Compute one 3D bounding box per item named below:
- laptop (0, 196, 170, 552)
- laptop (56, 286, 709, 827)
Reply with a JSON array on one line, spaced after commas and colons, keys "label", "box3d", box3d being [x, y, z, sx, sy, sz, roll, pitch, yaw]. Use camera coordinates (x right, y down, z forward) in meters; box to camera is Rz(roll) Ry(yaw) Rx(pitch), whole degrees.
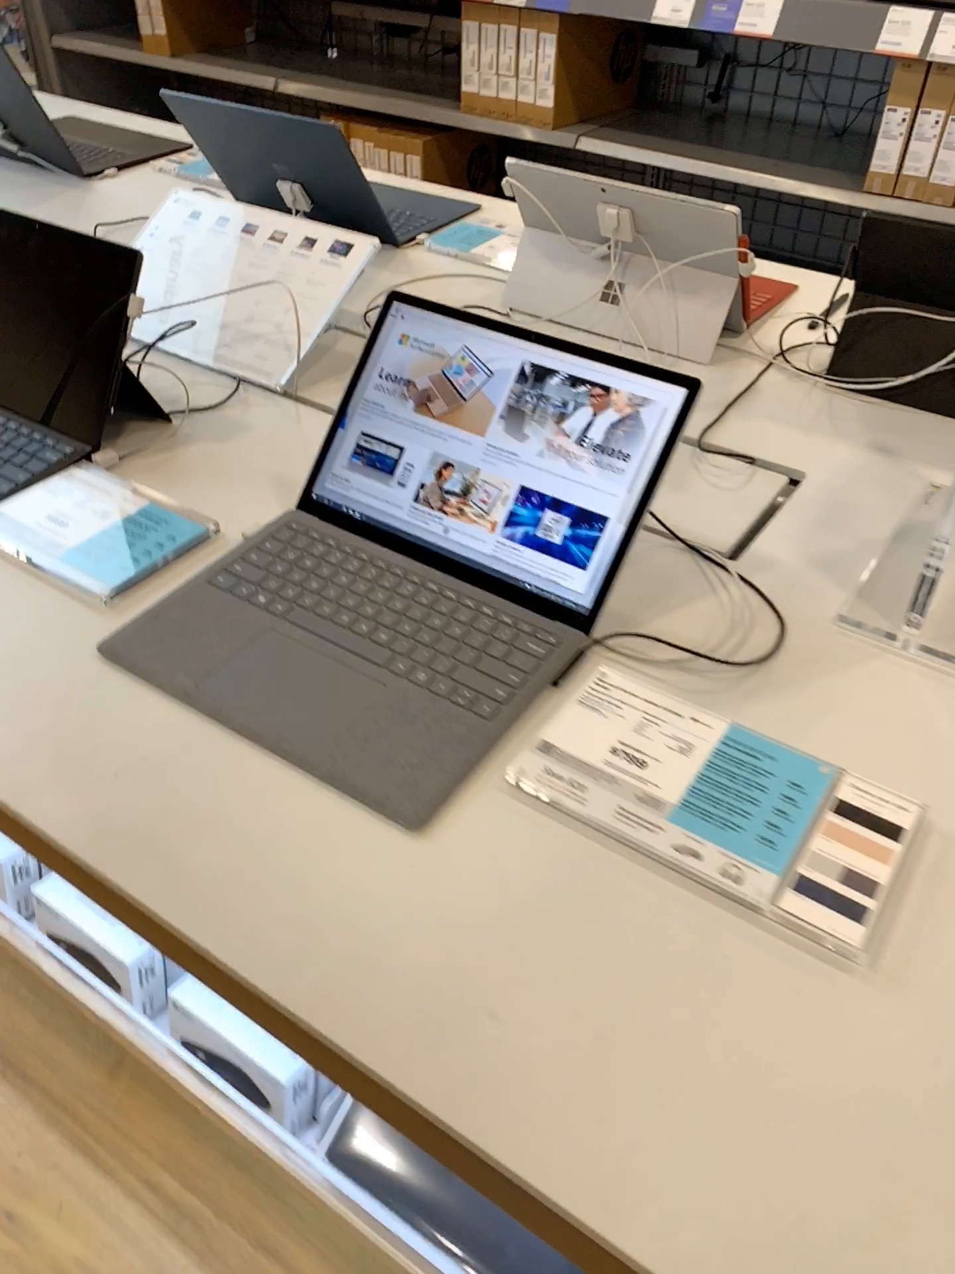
[{"label": "laptop", "box3d": [-0.511, -0.269, 0.928, 0.289, 0.158, 0.291, 22, 46, 23]}, {"label": "laptop", "box3d": [-0.052, -0.097, 0.745, 0.297, 0.148, 0.375, 24, 48, 25]}]
